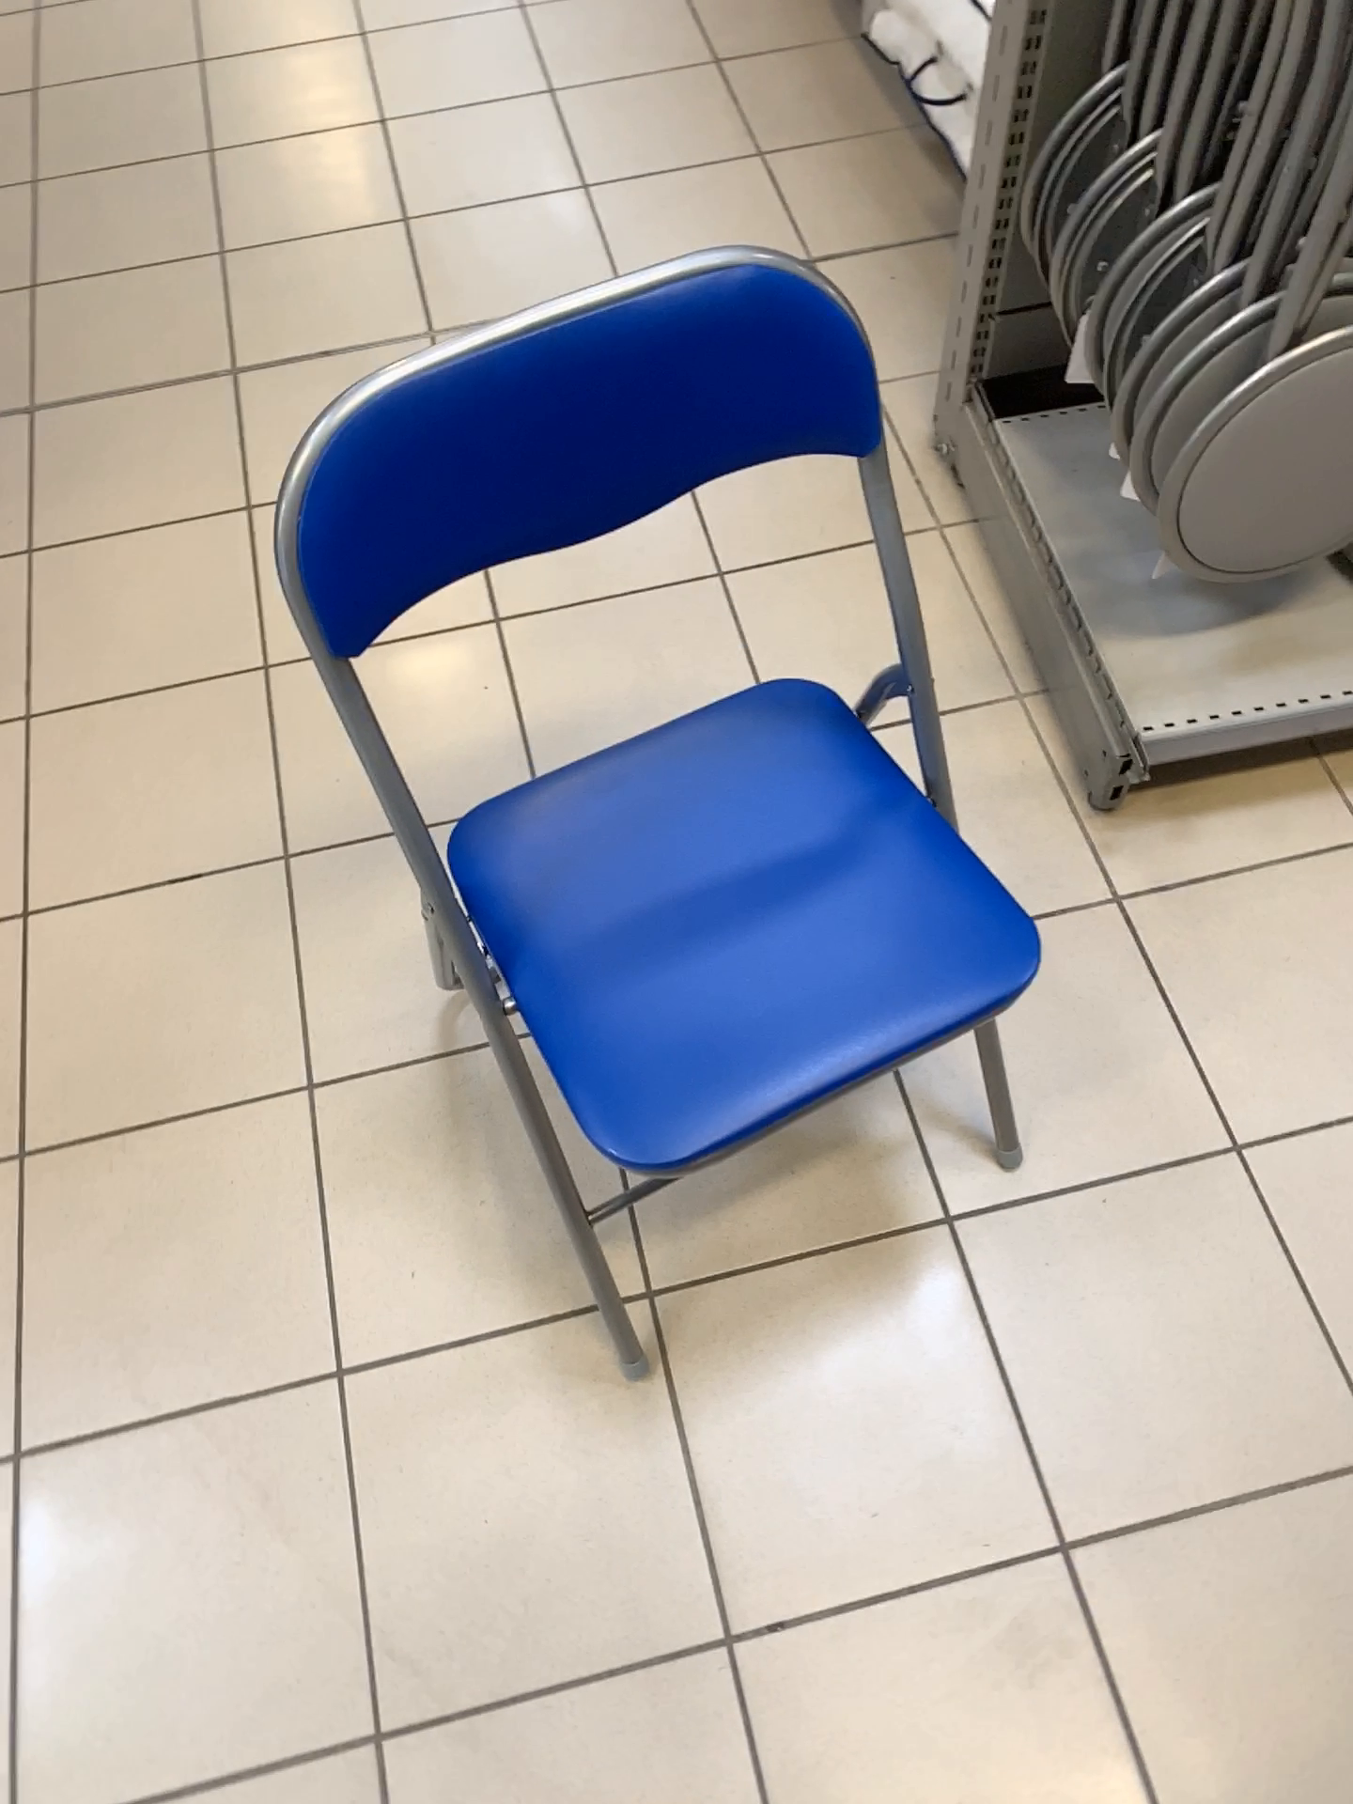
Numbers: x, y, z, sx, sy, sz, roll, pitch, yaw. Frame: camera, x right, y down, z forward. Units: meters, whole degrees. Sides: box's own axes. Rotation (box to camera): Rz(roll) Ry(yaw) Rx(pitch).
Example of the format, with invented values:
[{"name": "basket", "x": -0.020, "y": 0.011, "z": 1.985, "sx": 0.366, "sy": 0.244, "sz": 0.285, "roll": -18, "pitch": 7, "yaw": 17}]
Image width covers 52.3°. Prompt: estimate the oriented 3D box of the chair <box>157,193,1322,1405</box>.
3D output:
[{"name": "chair", "x": 0.021, "y": -0.034, "z": 1.086, "sx": 0.478, "sy": 0.664, "sz": 0.526, "roll": -26, "pitch": 61, "yaw": -12}]
